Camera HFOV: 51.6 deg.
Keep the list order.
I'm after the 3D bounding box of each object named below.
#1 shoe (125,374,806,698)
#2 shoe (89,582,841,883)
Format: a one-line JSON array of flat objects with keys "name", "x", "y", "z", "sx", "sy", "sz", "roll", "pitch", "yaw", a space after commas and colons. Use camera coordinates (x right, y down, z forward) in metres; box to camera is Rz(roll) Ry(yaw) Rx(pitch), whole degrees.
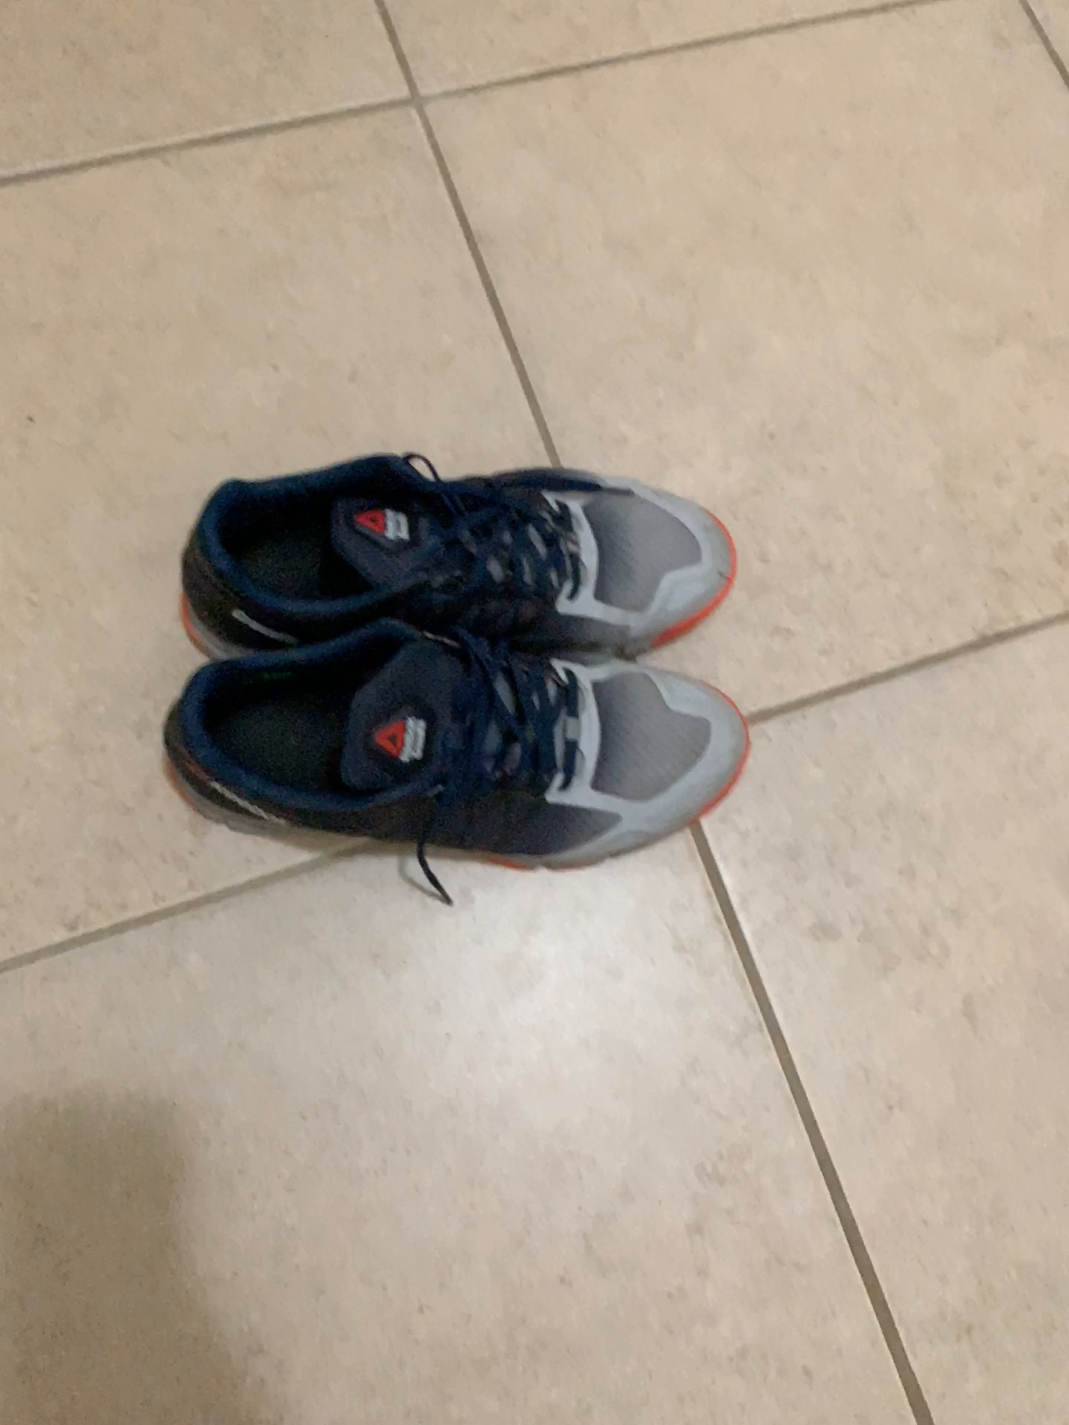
[{"name": "shoe", "x": -0.036, "y": -0.087, "z": 0.566, "sx": 0.304, "sy": 0.122, "sz": 0.104, "roll": -5, "pitch": 75, "yaw": -8}, {"name": "shoe", "x": -0.031, "y": 0.018, "z": 0.542, "sx": 0.314, "sy": 0.134, "sz": 0.109, "roll": 2, "pitch": 74, "yaw": -6}]
